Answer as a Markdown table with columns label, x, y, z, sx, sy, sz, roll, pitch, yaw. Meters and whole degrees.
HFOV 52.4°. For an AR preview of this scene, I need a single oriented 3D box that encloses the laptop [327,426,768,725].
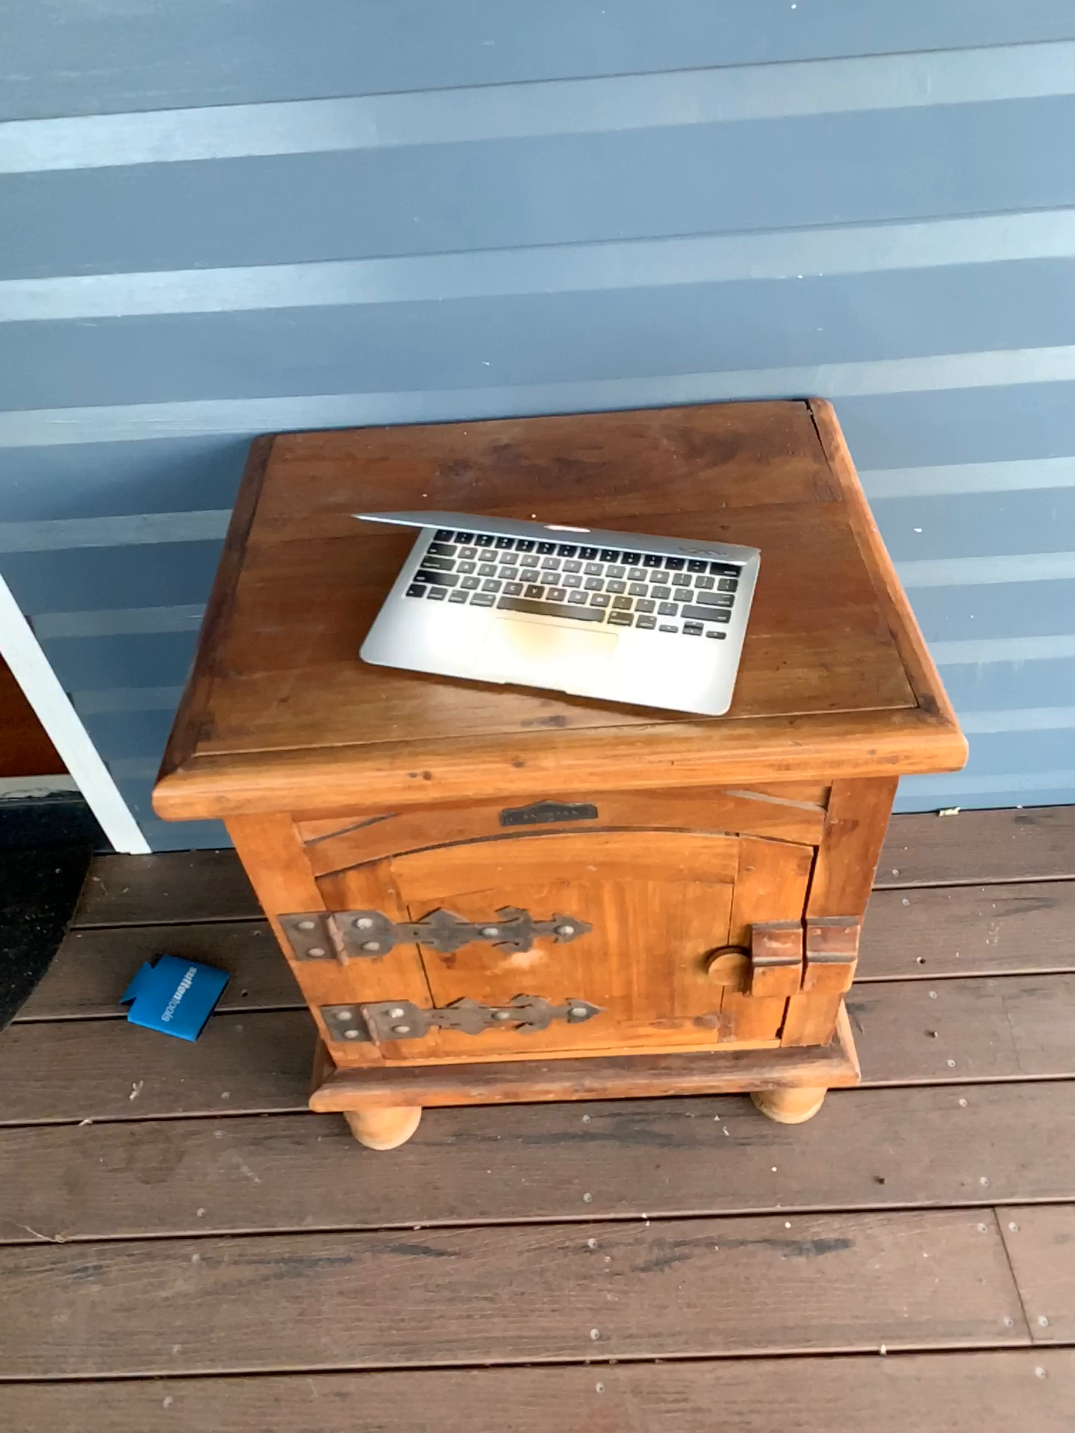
| label | x | y | z | sx | sy | sz | roll | pitch | yaw |
| --- | --- | --- | --- | --- | --- | --- | --- | --- | --- |
| laptop | 0.016 | -0.114 | 0.828 | 0.282 | 0.099 | 0.180 | 9 | 49 | 14 |
